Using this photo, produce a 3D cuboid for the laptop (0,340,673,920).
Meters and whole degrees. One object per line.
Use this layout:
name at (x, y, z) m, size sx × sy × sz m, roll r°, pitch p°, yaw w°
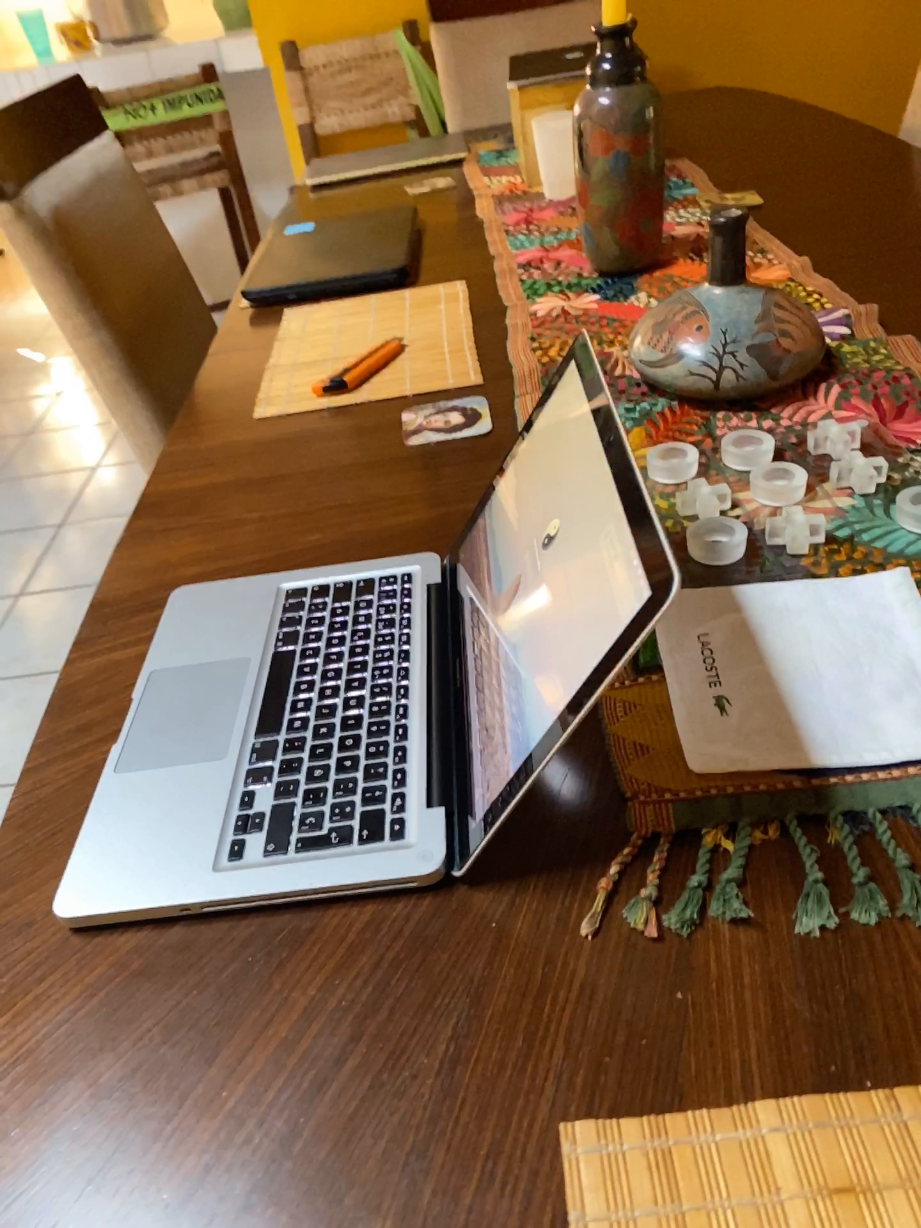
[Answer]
laptop at (-0.077, -0.011, 0.608) m, size 0.357 × 0.171 × 0.326 m, roll -7°, pitch 36°, yaw 4°
